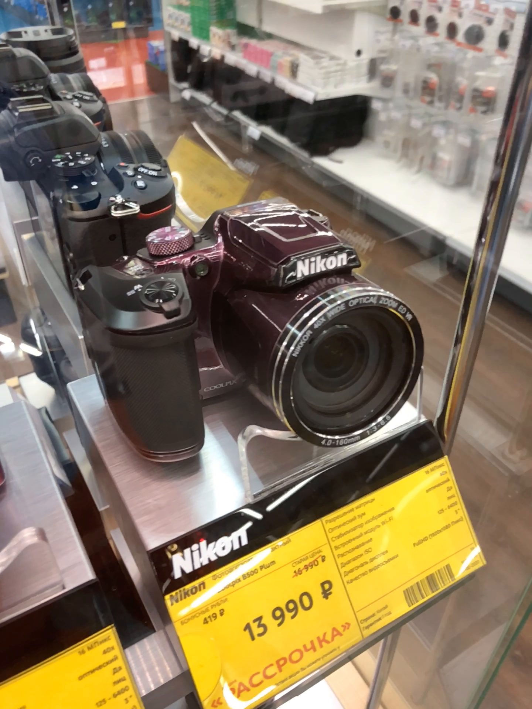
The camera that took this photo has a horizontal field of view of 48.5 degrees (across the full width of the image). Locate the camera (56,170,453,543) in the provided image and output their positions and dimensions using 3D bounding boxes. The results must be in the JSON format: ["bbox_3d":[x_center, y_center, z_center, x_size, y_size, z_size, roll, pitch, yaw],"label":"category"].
[{"bbox_3d":[-0.009,-0.009,0.238,0.109,0.080,0.100,-19,42,-22],"label":"camera"}]

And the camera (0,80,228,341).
[{"bbox_3d":[-0.097,-0.091,0.338,0.100,0.084,0.134,-18,42,-22],"label":"camera"}]
